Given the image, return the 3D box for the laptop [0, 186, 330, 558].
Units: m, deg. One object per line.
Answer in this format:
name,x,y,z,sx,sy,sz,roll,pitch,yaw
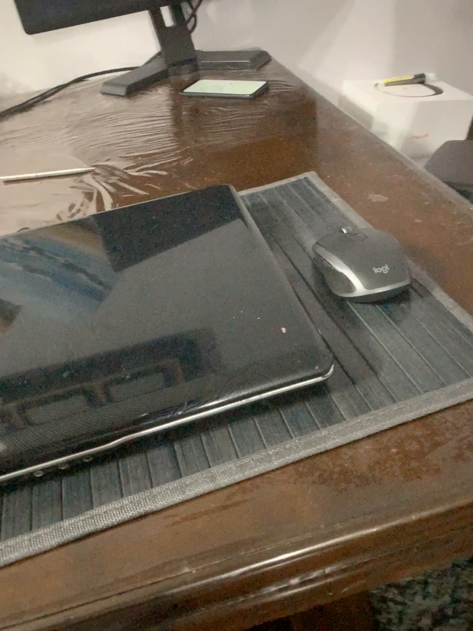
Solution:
laptop,-0.135,-0.002,0.349,0.339,0.009,0.232,-15,43,-9
